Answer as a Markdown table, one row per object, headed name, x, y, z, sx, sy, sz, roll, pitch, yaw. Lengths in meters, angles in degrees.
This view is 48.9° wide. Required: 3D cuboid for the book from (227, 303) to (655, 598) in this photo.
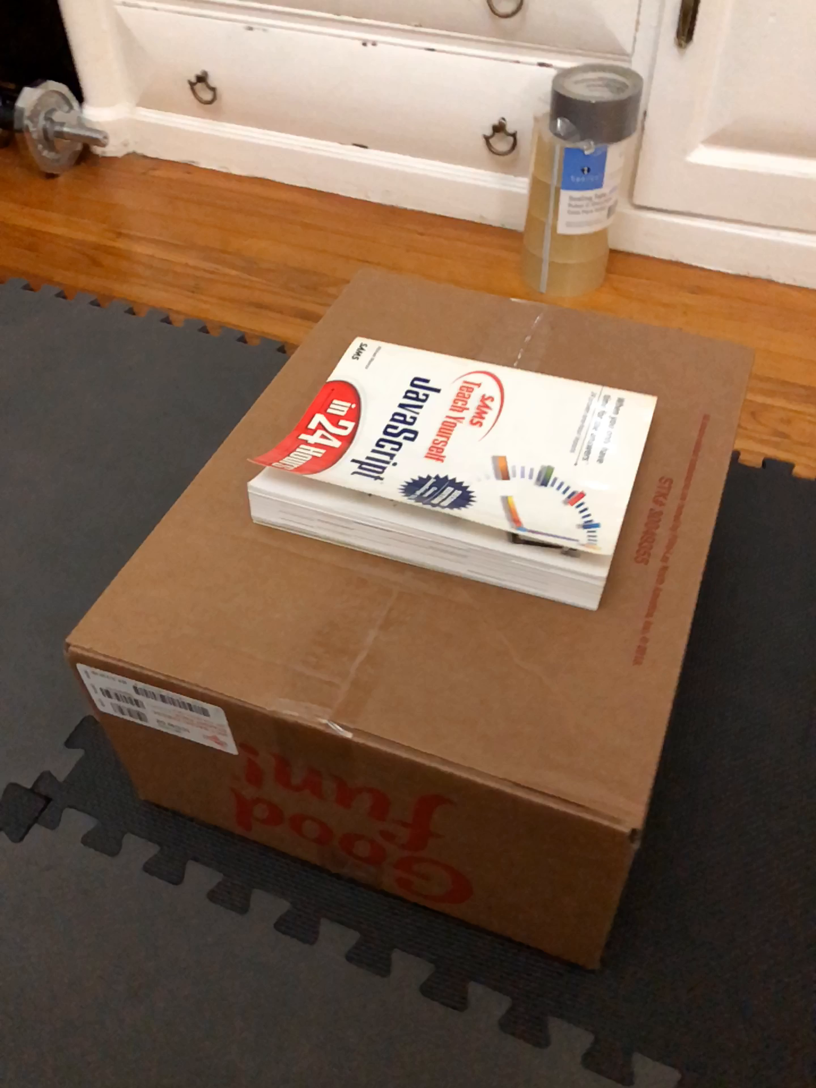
| name | x | y | z | sx | sy | sz | roll | pitch | yaw |
| --- | --- | --- | --- | --- | --- | --- | --- | --- | --- |
| book | 0.031 | -0.078 | 0.619 | 0.240 | 0.030 | 0.201 | 15 | 49 | 13 |
